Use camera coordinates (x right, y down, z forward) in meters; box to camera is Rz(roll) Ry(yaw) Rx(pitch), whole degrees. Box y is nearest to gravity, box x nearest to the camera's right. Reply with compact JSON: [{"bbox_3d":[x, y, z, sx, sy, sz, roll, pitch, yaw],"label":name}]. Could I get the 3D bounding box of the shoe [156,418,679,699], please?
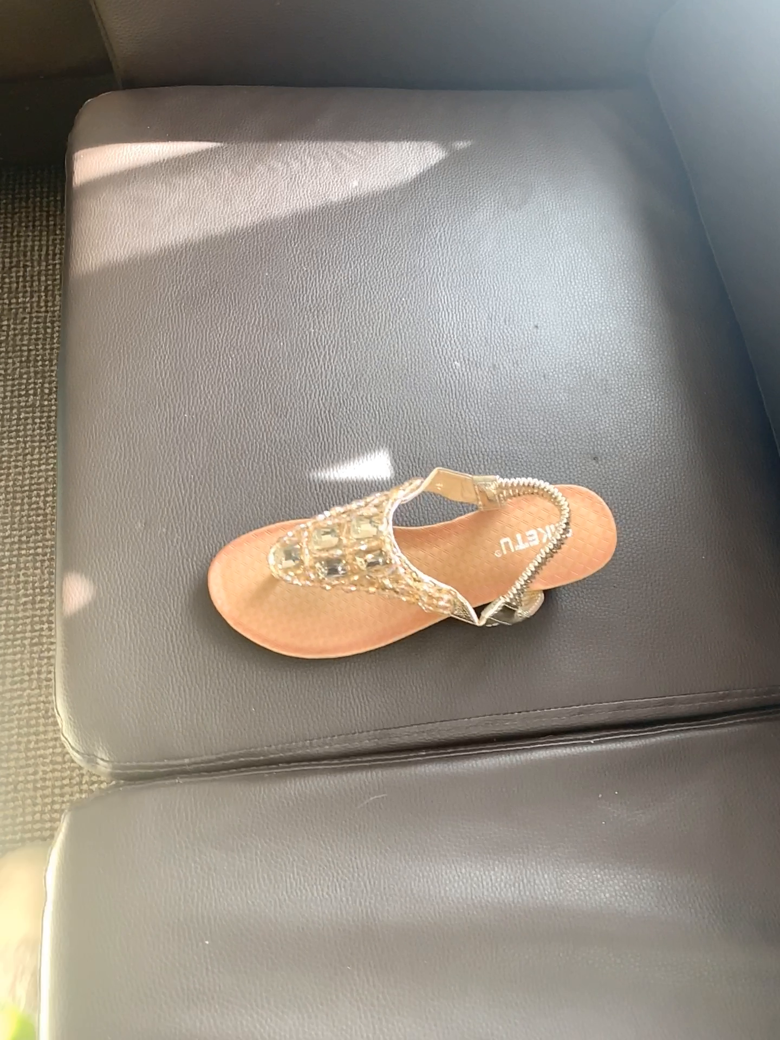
[{"bbox_3d":[0.011,0.031,0.496,0.270,0.140,0.100,-9,71,-4],"label":"shoe"}]
